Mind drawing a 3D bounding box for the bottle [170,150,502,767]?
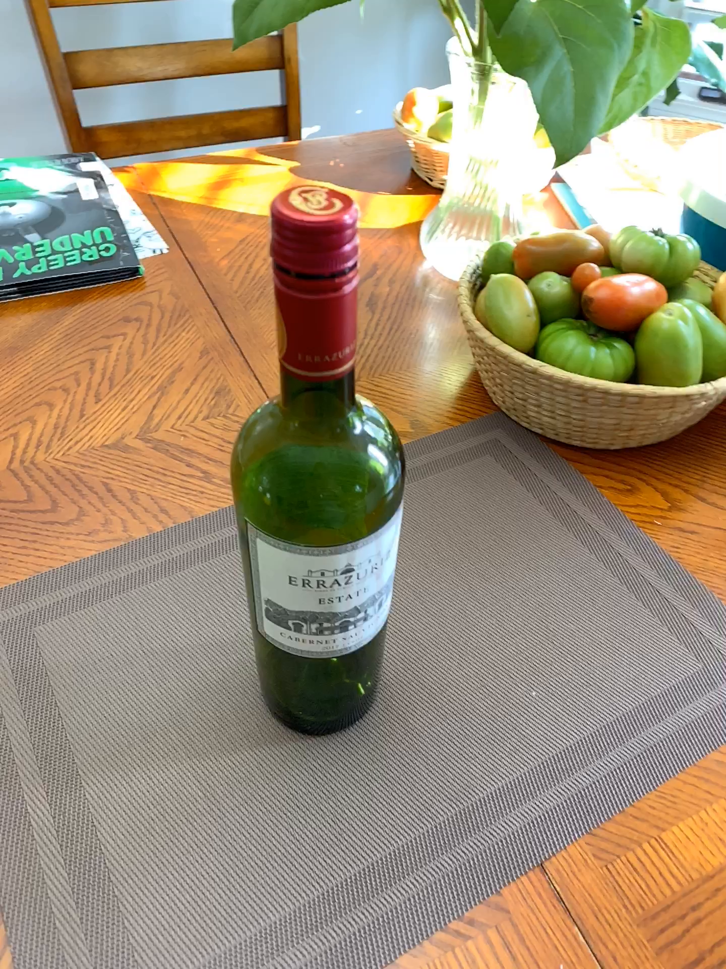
[{"bbox_3d":[-0.018,0.015,0.361,0.090,0.307,0.081,-15,47,-18],"label":"bottle"}]
